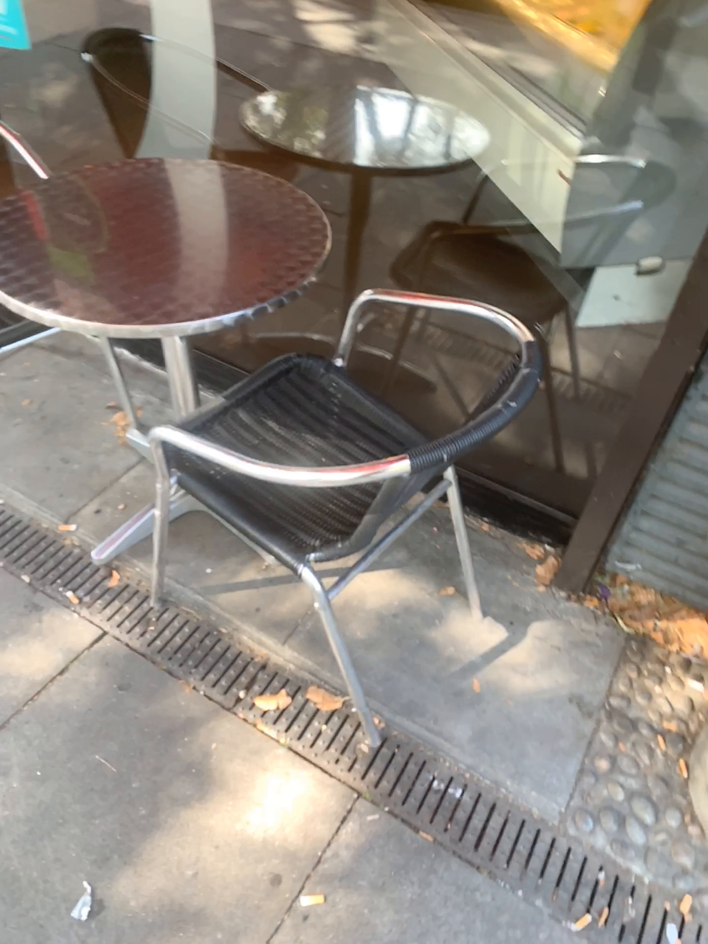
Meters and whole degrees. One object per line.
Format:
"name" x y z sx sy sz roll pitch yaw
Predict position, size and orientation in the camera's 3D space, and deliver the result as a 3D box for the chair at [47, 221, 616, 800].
"chair" -0.036 0.025 1.302 0.642 0.604 0.604 31 49 25
